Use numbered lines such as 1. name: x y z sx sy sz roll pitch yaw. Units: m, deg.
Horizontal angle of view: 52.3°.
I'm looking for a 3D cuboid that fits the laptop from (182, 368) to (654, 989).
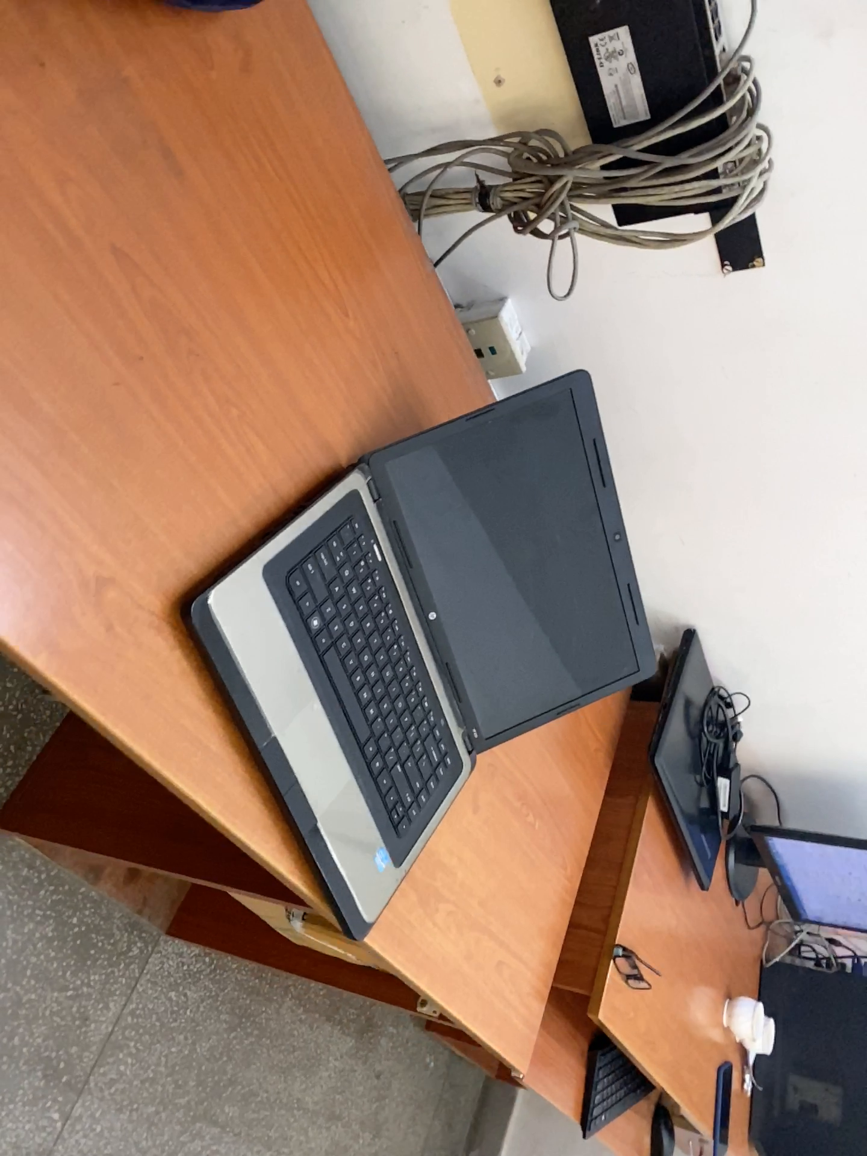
1. laptop: 0.036 0.071 0.851 0.427 0.158 0.384 -49 129 -44
